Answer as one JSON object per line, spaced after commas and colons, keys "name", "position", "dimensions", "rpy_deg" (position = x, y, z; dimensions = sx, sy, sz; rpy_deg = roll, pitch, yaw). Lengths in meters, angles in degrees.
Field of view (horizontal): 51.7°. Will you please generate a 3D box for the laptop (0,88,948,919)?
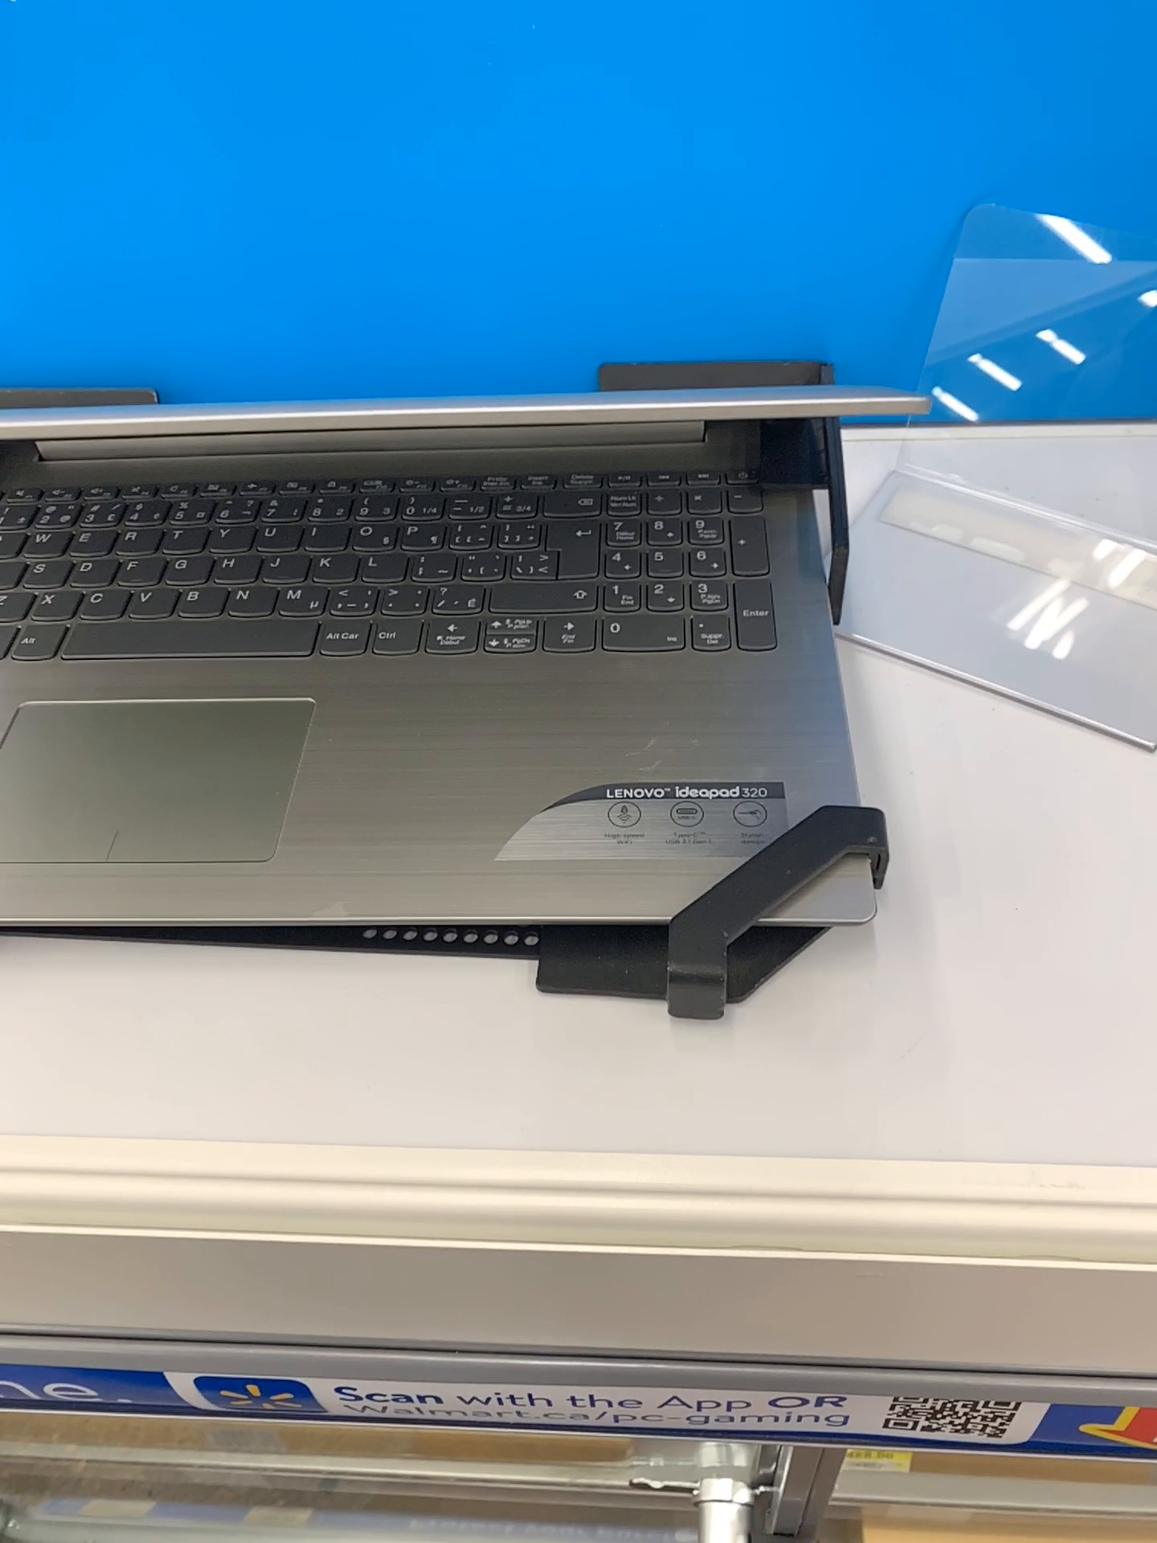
{"name": "laptop", "position": [-0.089, -0.083, 0.337], "dimensions": [0.324, 0.110, 0.220], "rpy_deg": [-1, 49, 3]}
